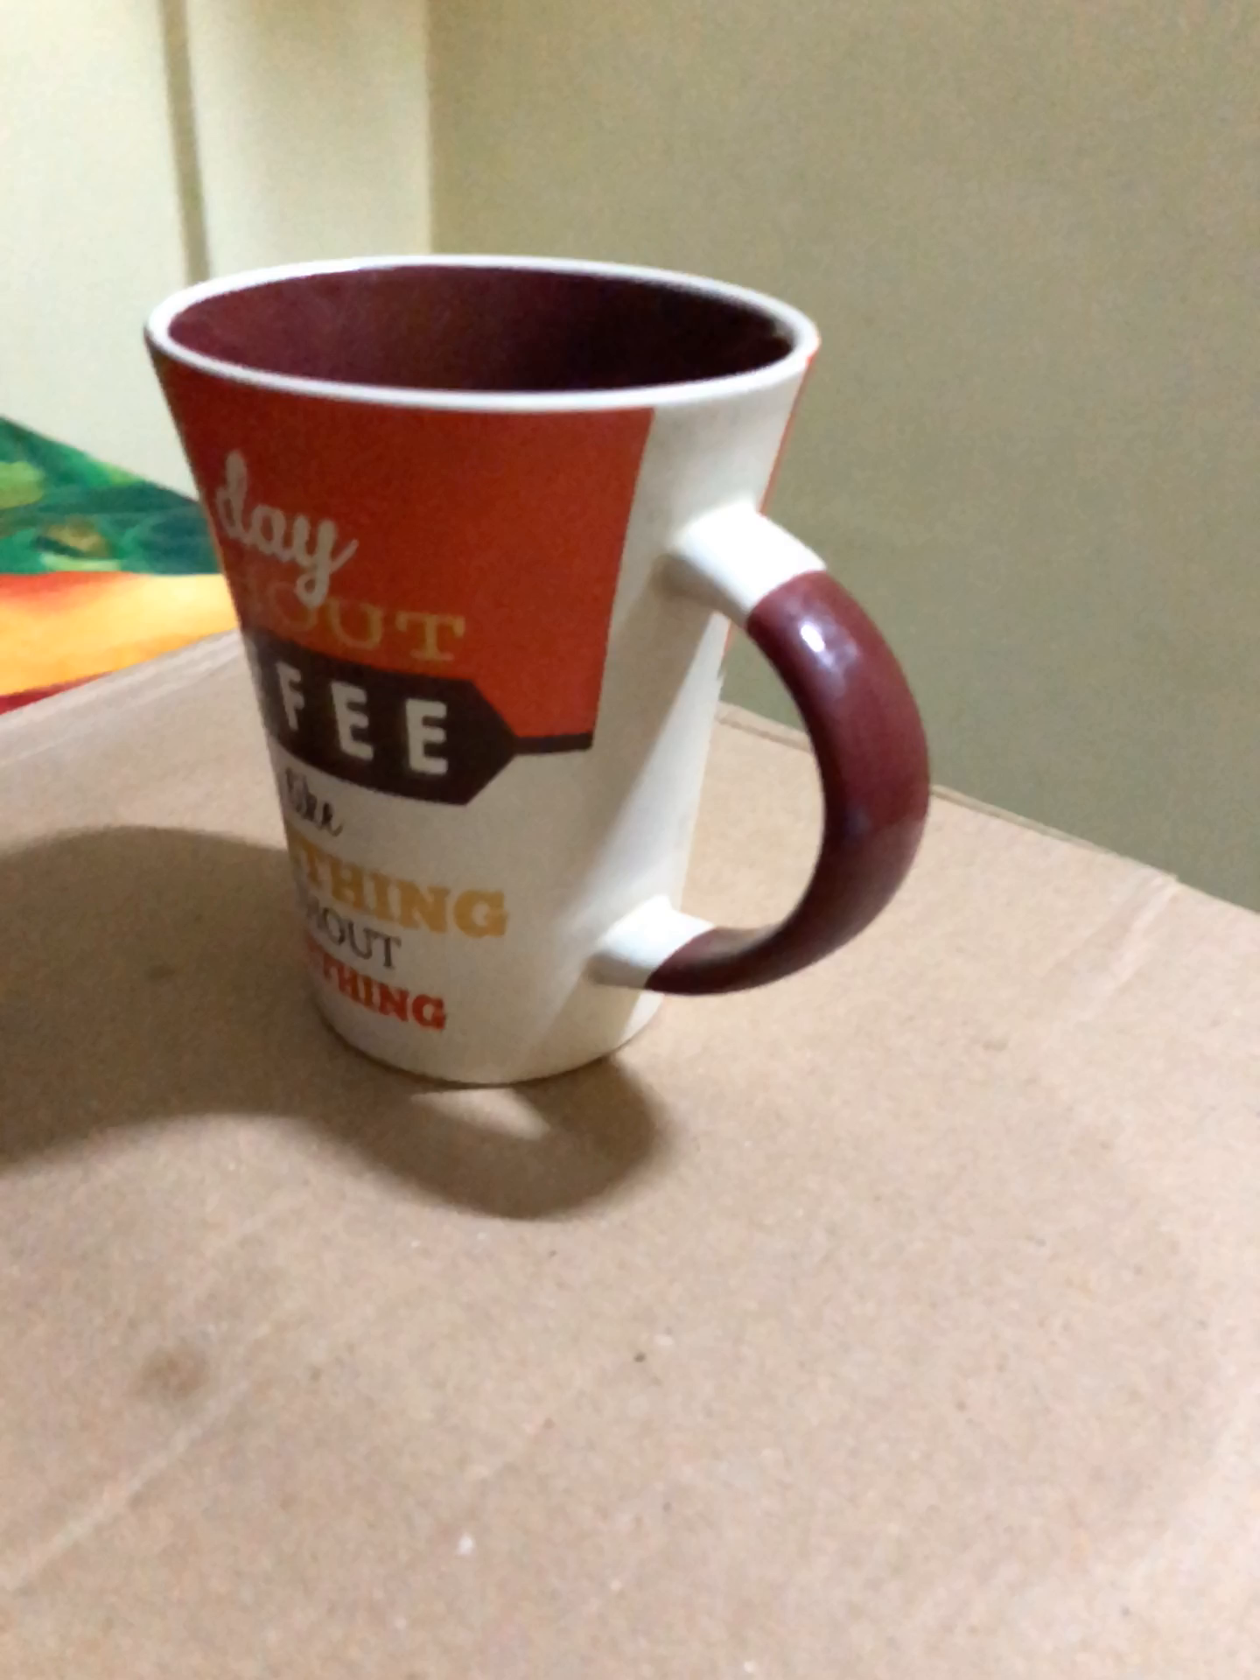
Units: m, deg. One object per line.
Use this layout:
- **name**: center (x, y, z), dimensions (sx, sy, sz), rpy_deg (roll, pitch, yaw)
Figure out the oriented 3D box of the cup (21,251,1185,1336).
- **cup**: center (-0.009, -0.026, 0.220), dimensions (0.130, 0.109, 0.101), rpy_deg (26, 35, 38)
